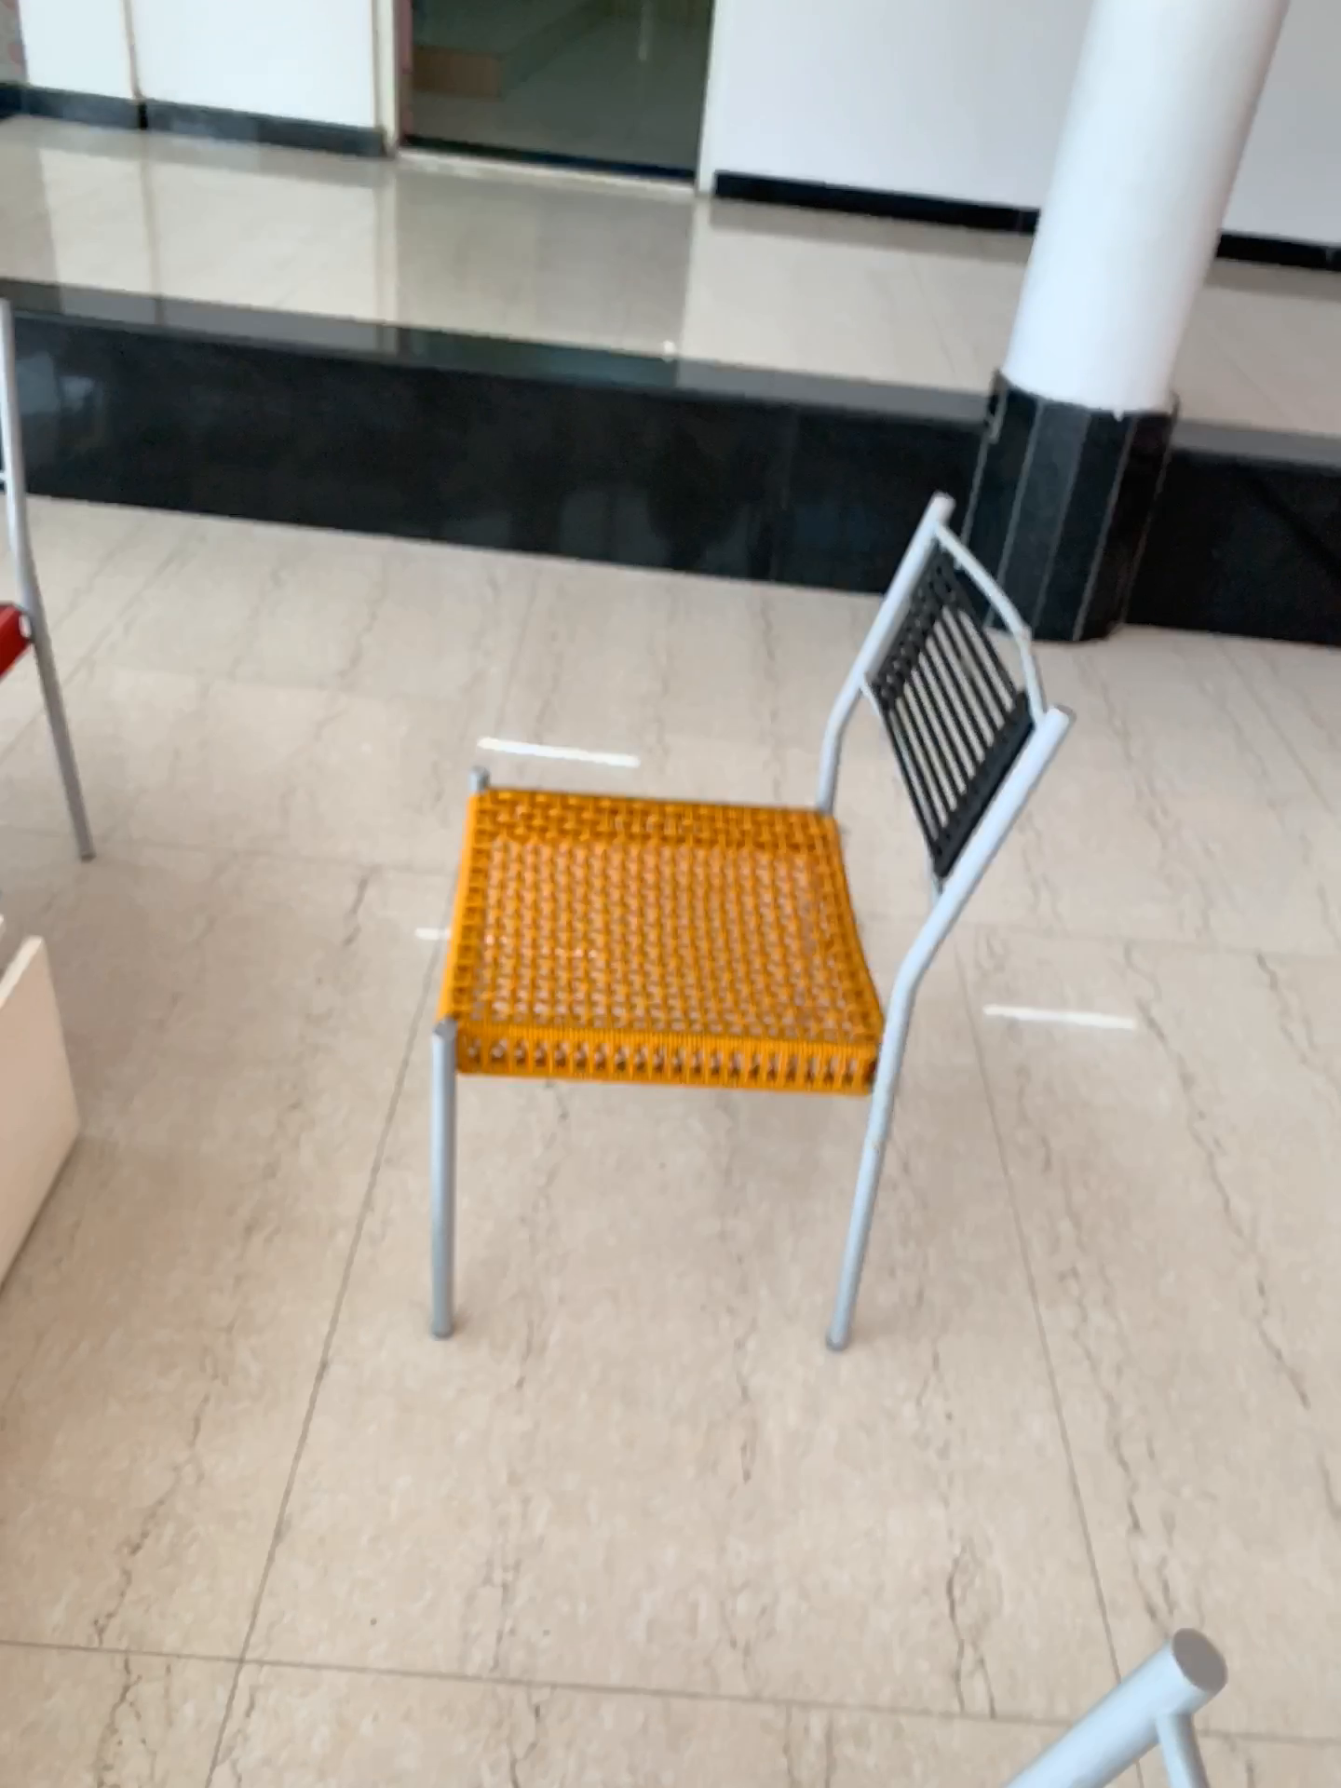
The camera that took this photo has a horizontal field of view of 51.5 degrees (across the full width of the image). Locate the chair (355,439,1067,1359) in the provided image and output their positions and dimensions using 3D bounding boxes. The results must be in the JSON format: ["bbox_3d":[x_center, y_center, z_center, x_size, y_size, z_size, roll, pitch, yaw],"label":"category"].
[{"bbox_3d":[-0.005,0.009,1.441,0.520,0.744,0.534,4,35,-4],"label":"chair"}]
